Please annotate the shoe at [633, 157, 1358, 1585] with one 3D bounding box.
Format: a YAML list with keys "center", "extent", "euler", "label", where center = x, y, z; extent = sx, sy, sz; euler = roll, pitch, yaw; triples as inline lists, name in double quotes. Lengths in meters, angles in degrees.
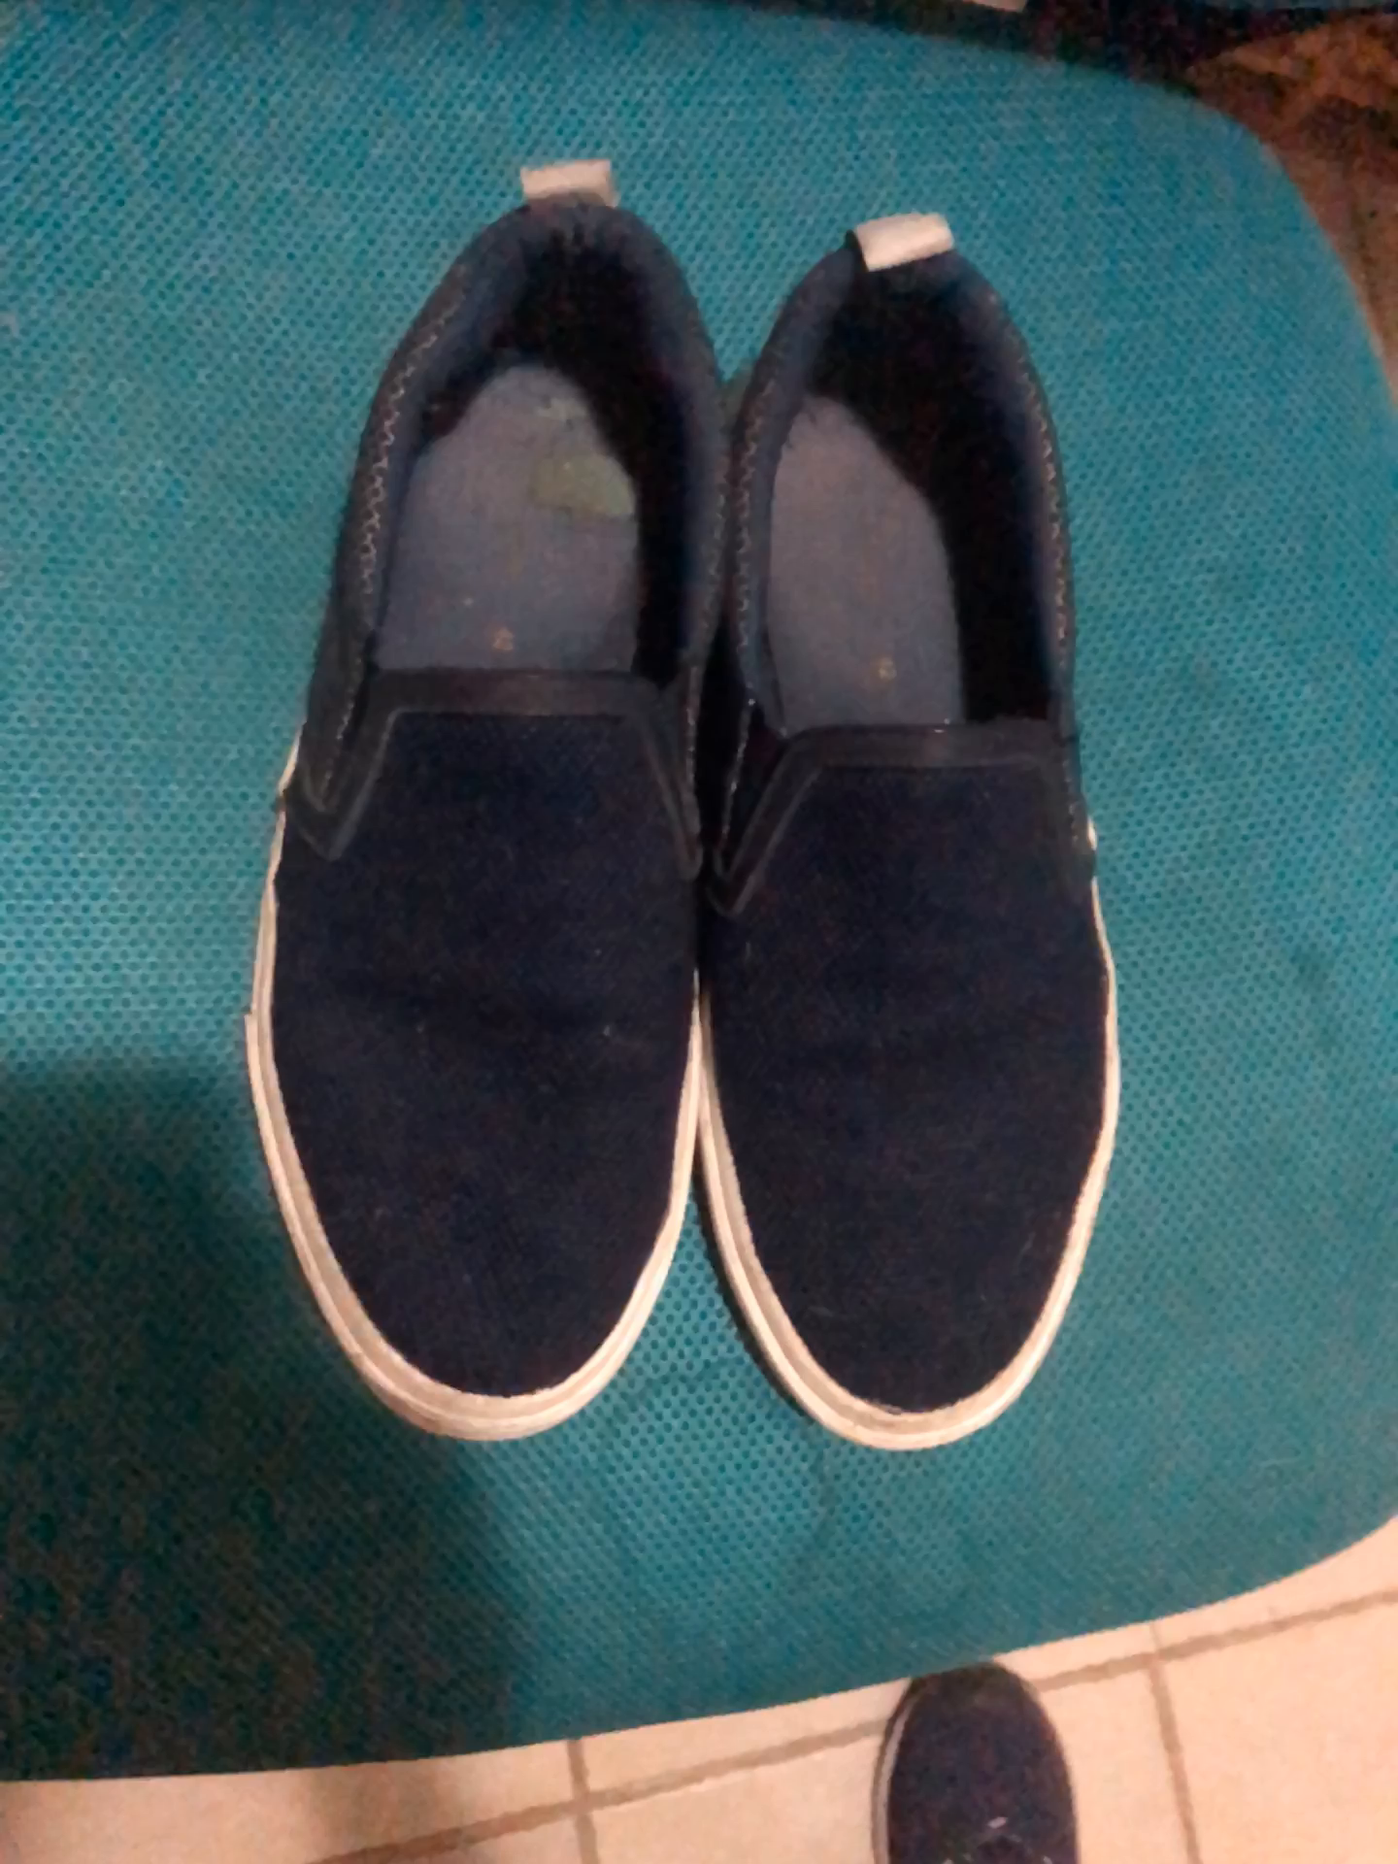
- center: [0.057, -0.015, 0.375]
  extent: [0.120, 0.110, 0.290]
  euler: [-2, 83, -10]
  label: "shoe"

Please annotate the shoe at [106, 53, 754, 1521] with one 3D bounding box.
- center: [-0.058, -0.029, 0.364]
  extent: [0.120, 0.110, 0.290]
  euler: [1, 83, -9]
  label: "shoe"
